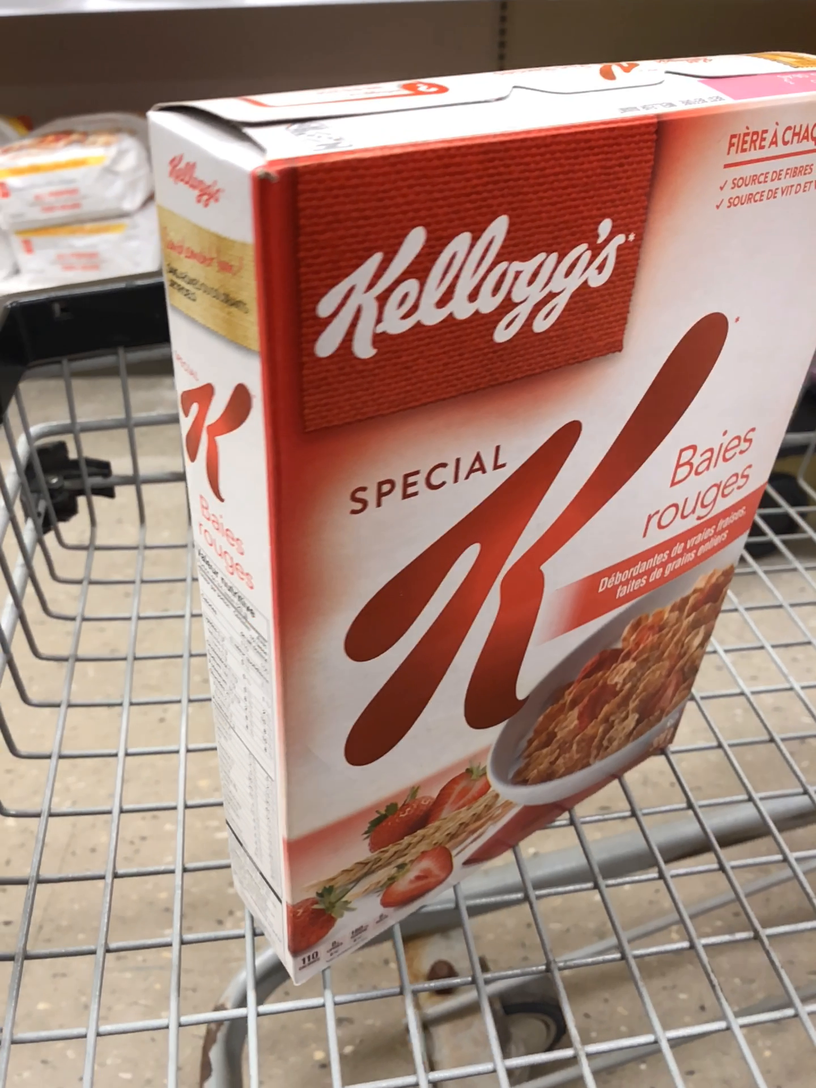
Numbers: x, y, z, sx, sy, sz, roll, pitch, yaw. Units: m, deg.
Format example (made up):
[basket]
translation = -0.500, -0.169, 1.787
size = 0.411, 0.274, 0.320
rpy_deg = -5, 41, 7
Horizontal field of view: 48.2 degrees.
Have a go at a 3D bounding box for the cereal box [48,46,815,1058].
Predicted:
[cereal box]
translation = 0.029, 0.008, 0.280
size = 0.210, 0.269, 0.050
rpy_deg = -21, 41, -29
